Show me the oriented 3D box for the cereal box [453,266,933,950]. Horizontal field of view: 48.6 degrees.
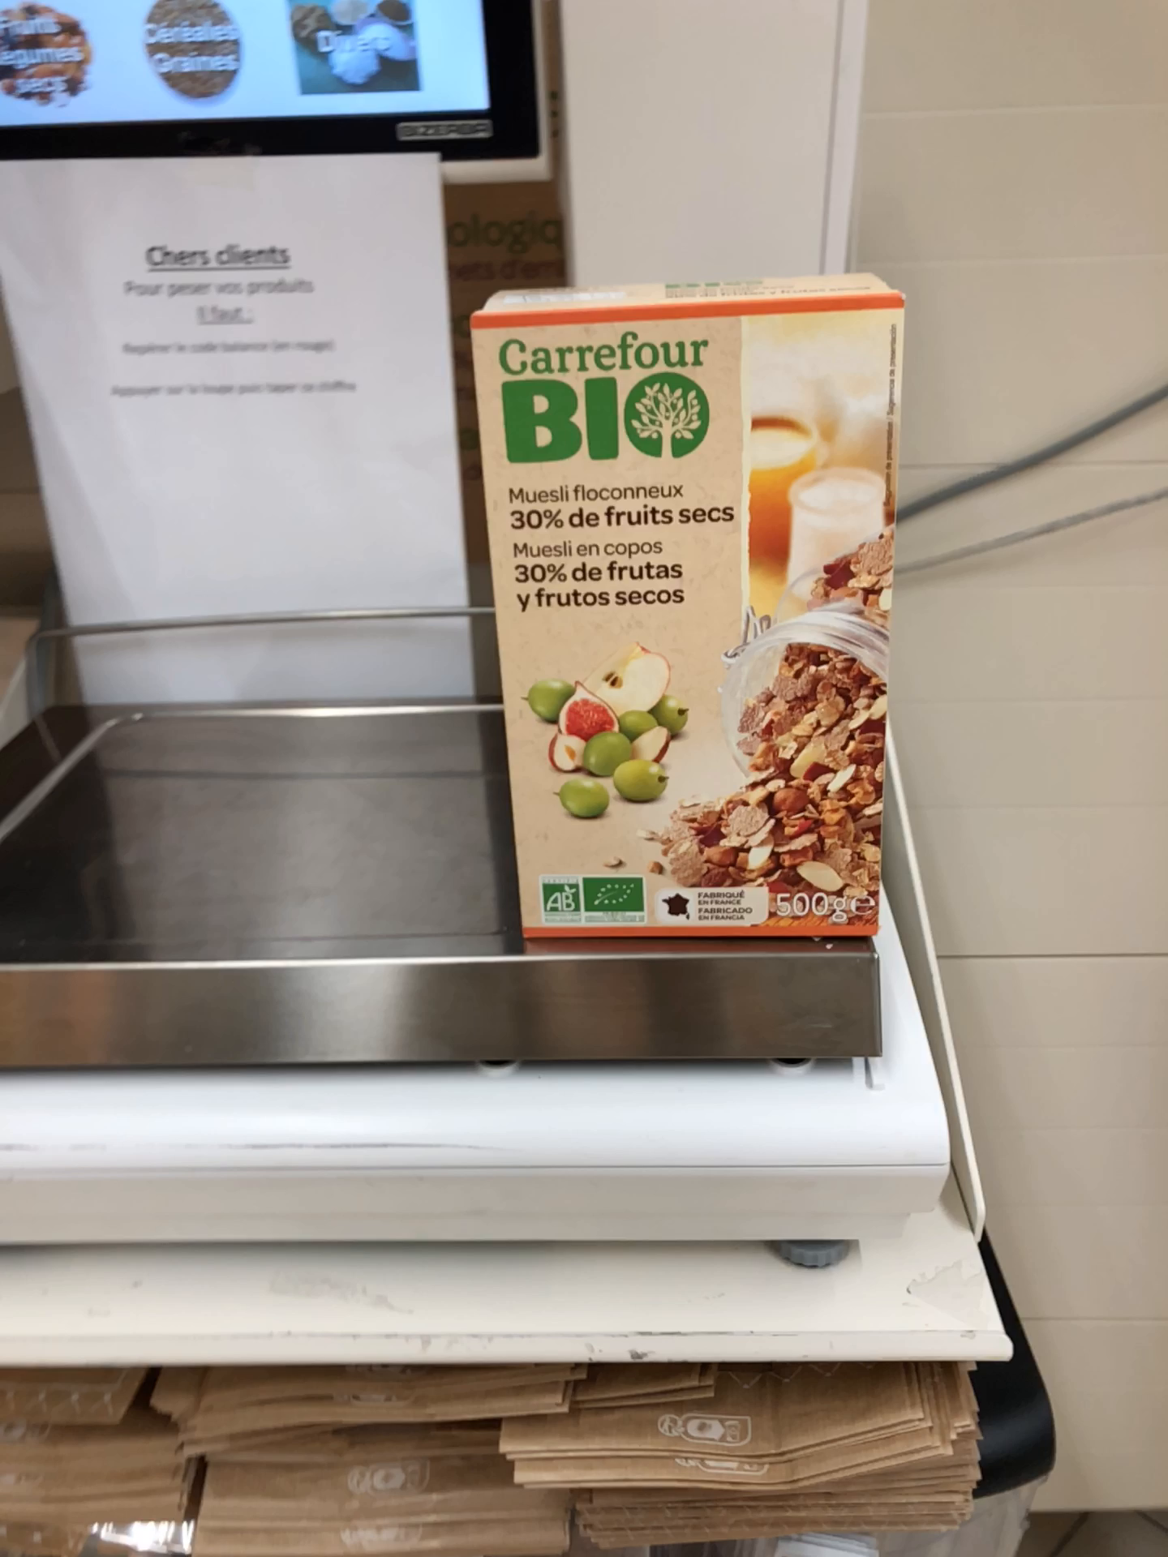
[{"bbox_3d":[0.037,-0.050,0.422,0.130,0.209,0.060,-1,25,5],"label":"cereal box"}]
